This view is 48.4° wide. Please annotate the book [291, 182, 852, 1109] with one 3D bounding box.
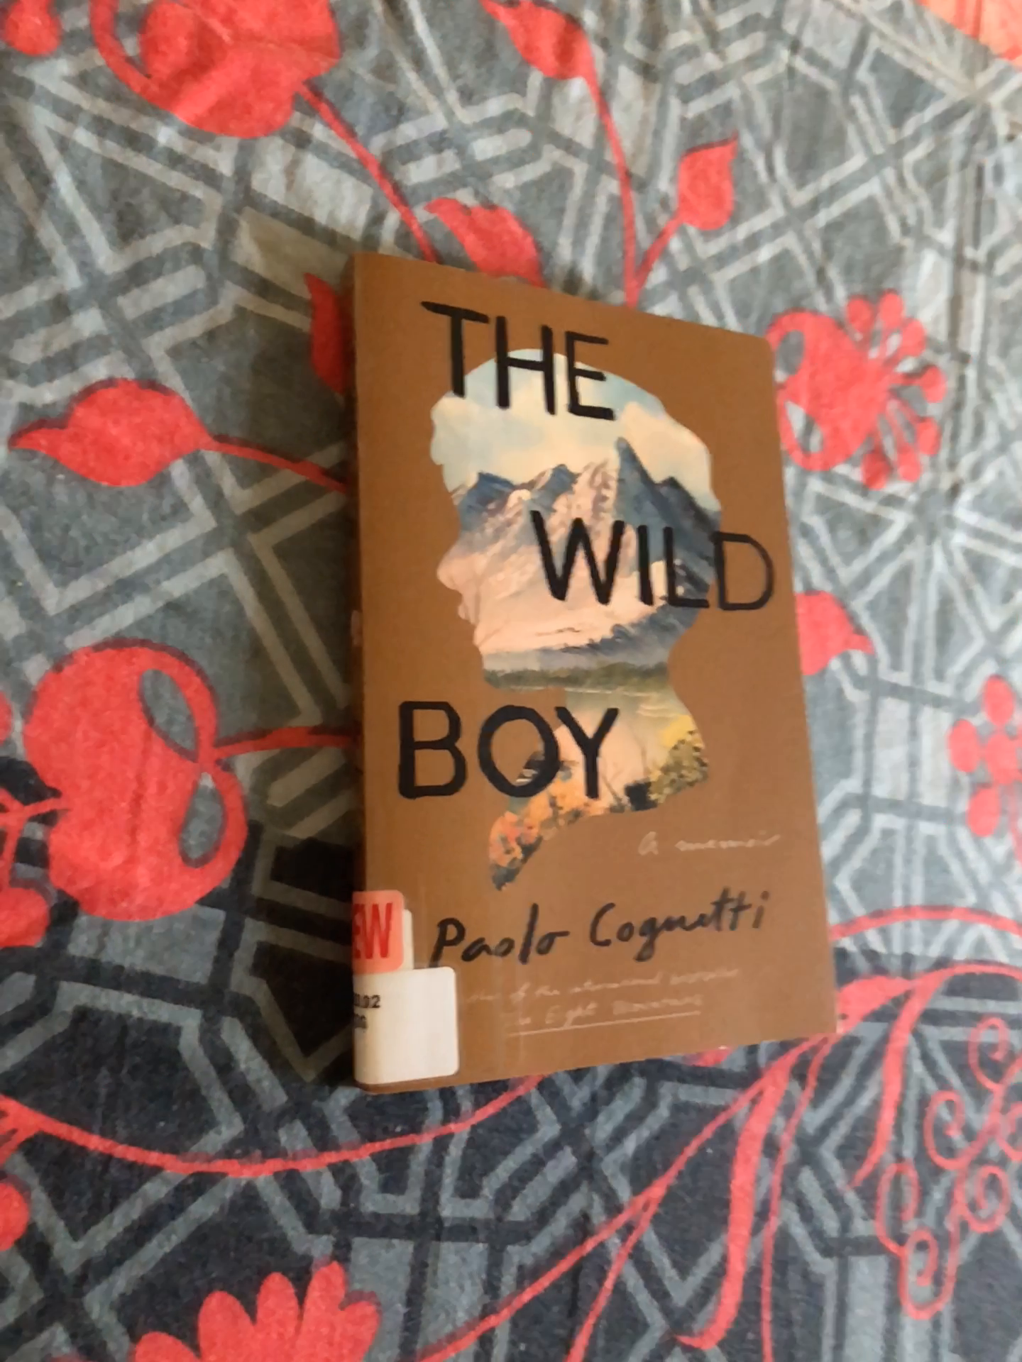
[{"bbox_3d":[0.018,-0.011,0.323,0.151,0.030,0.230,2,80,-26],"label":"book"}]
